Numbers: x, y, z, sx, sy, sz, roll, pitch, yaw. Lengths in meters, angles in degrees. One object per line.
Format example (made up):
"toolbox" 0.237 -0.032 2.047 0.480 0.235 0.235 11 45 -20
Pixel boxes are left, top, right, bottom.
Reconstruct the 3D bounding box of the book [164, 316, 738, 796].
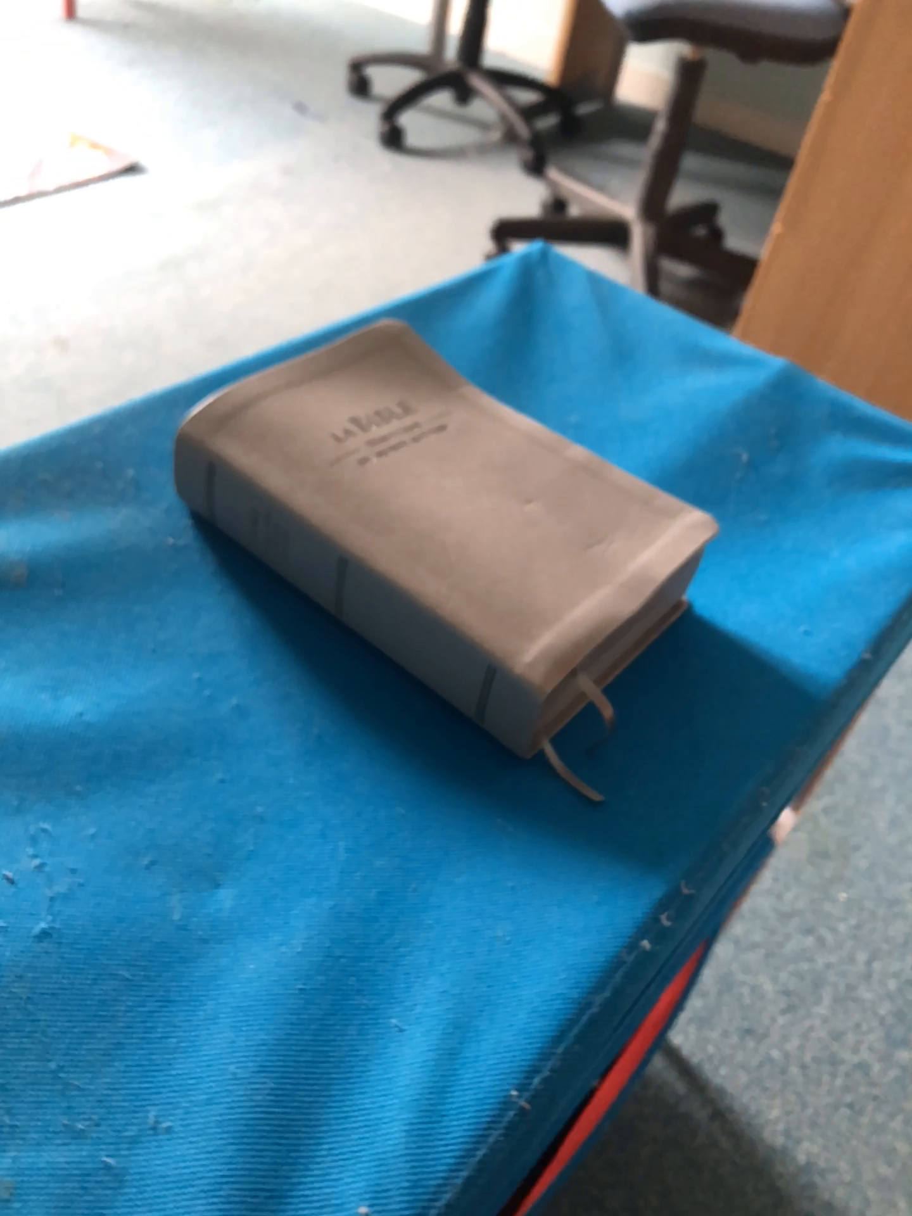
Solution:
"book" -0.004 -0.032 0.397 0.180 0.051 0.122 36 49 21
